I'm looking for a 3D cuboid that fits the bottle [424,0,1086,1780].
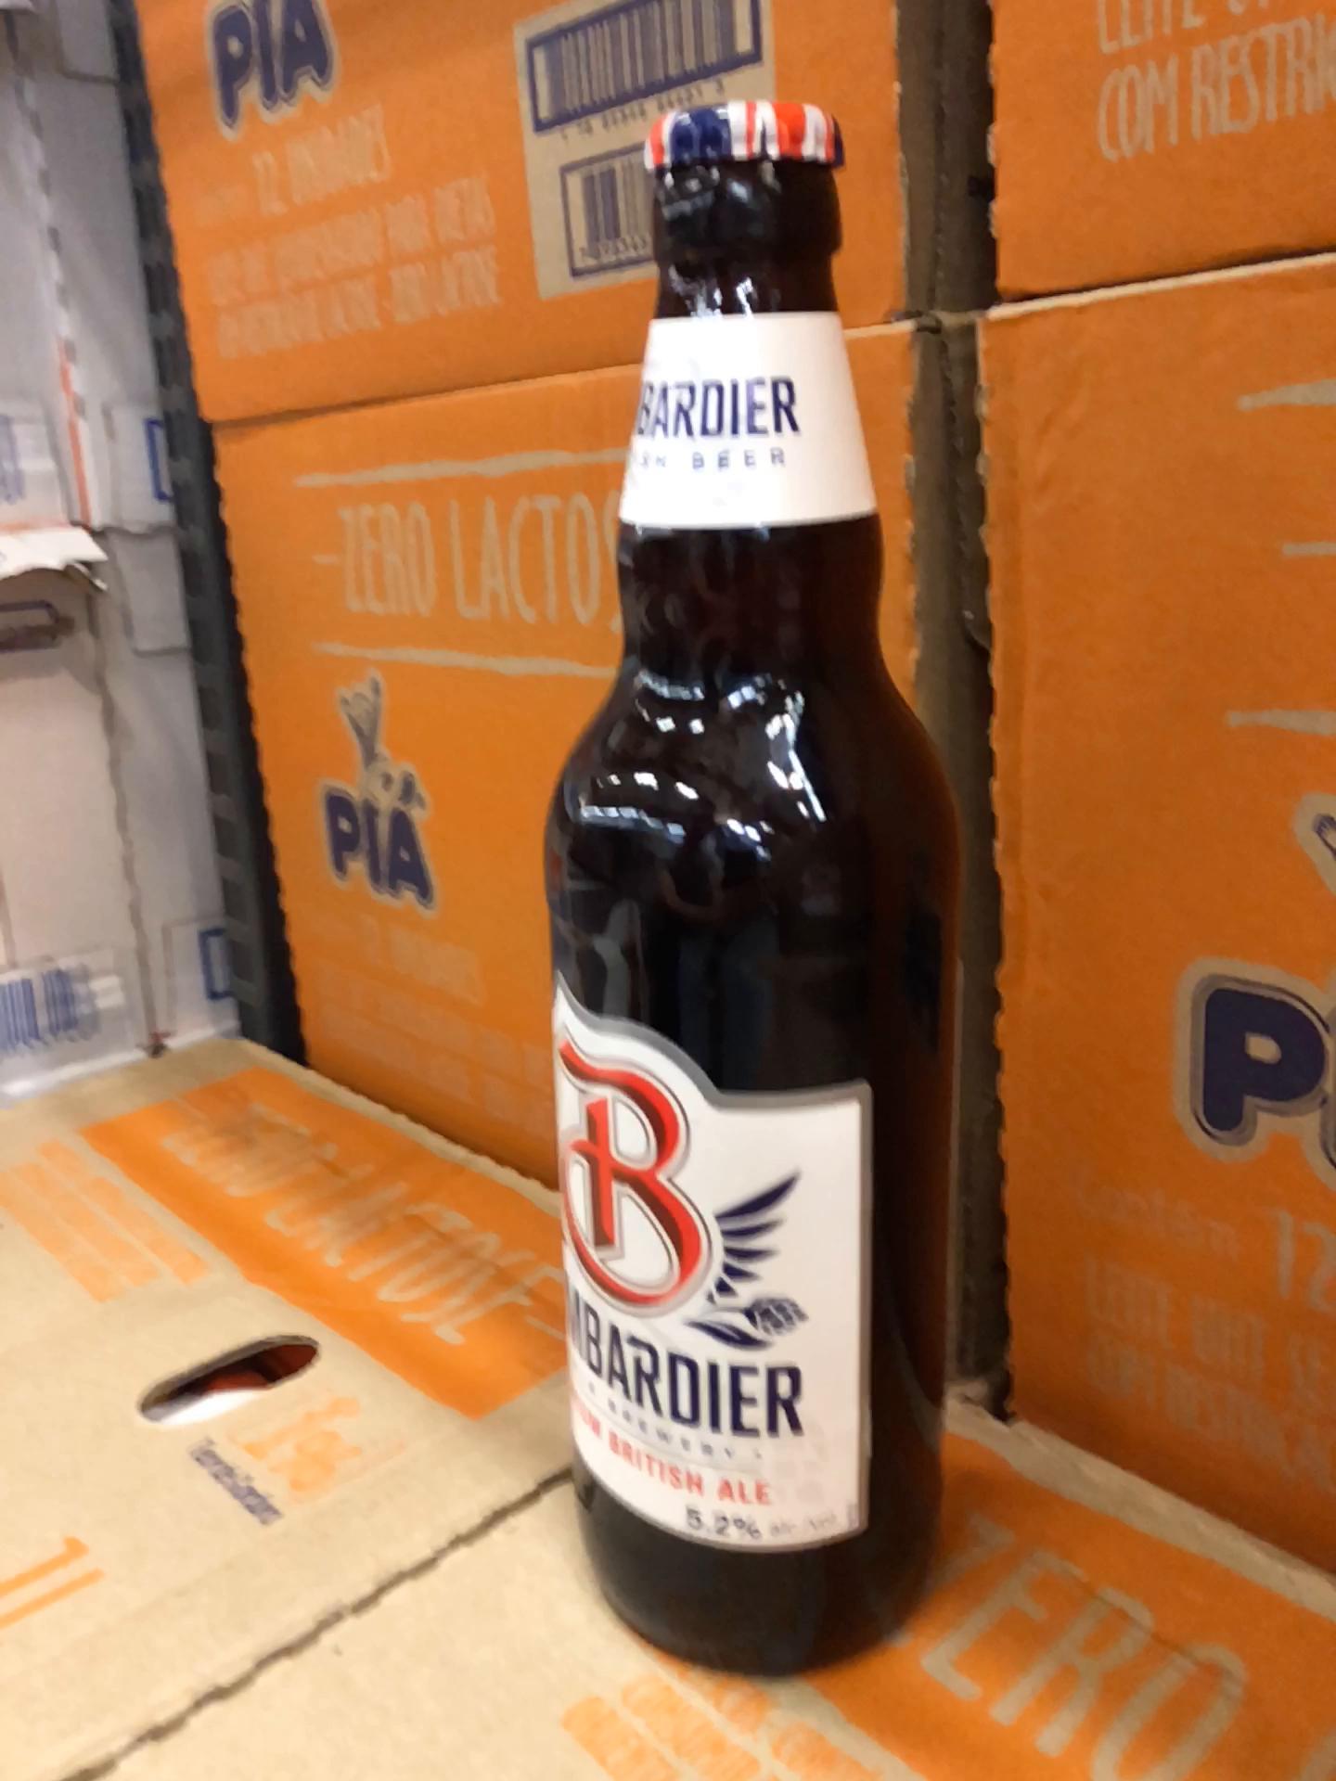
[{"bbox_3d":[0.015,0.003,0.241,0.060,0.259,0.070,-15,20,-38],"label":"bottle"}]
